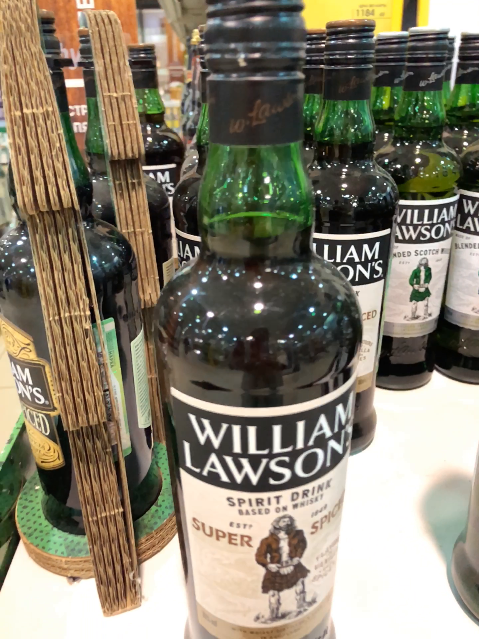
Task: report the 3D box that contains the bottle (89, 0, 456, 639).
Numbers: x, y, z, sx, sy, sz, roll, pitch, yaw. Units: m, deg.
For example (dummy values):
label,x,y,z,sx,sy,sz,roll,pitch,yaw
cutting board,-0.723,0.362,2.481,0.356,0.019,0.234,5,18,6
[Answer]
label,x,y,z,sx,sy,sz,roll,pitch,yaw
bottle,0.004,0.037,0.215,0.080,0.298,0.091,-6,25,-10
